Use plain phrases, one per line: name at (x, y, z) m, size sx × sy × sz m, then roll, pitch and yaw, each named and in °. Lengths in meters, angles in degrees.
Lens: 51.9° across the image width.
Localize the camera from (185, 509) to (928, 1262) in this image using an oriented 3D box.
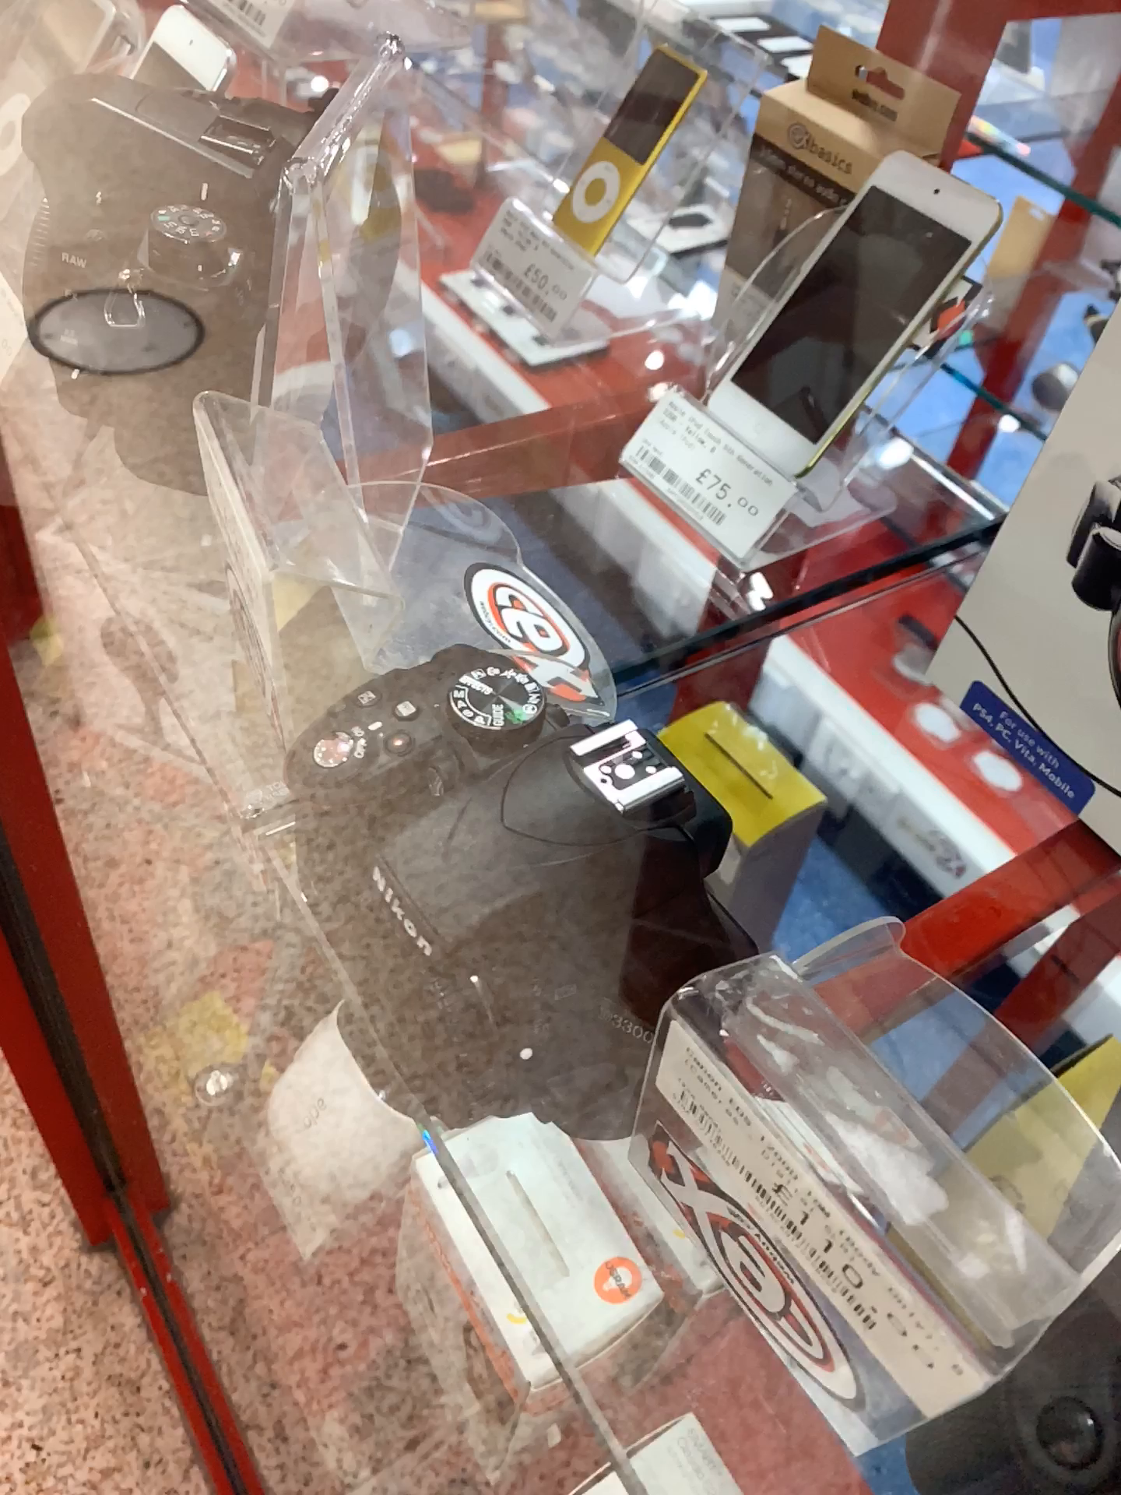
camera at (-0.007, 0.025, 0.286) m, size 0.110 × 0.079 × 0.131 m, roll -27°, pitch 58°, yaw -30°
